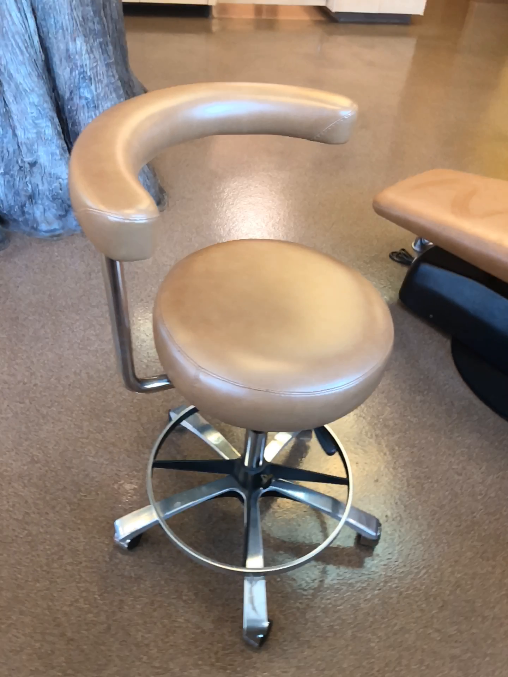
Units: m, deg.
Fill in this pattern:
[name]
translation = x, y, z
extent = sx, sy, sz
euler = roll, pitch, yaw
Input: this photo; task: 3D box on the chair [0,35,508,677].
[chair]
translation = 0.019, 0.048, 0.949
extent = 0.592, 0.805, 0.612
euler = 31, 48, 24
